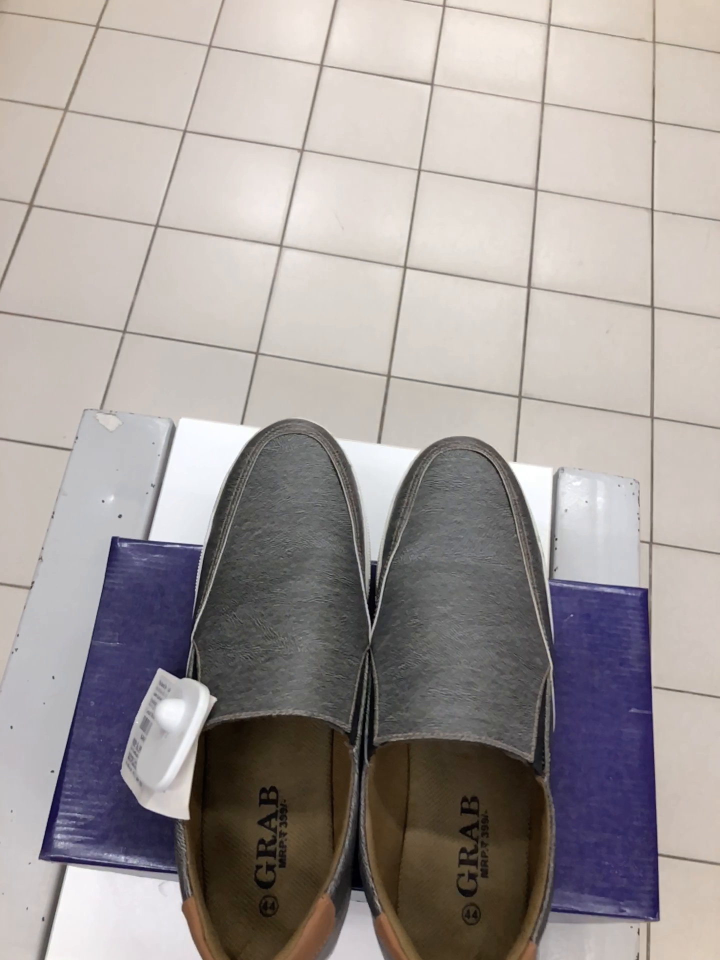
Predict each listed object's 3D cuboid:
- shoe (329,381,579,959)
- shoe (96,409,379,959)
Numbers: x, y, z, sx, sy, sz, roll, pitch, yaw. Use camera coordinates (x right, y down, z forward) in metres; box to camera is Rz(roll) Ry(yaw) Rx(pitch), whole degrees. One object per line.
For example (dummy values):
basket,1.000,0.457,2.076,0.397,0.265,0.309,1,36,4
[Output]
shoe,0.053,0.115,0.448,0.100,0.120,0.311,7,68,0
shoe,-0.047,0.110,0.401,0.100,0.100,0.271,3,68,-1
